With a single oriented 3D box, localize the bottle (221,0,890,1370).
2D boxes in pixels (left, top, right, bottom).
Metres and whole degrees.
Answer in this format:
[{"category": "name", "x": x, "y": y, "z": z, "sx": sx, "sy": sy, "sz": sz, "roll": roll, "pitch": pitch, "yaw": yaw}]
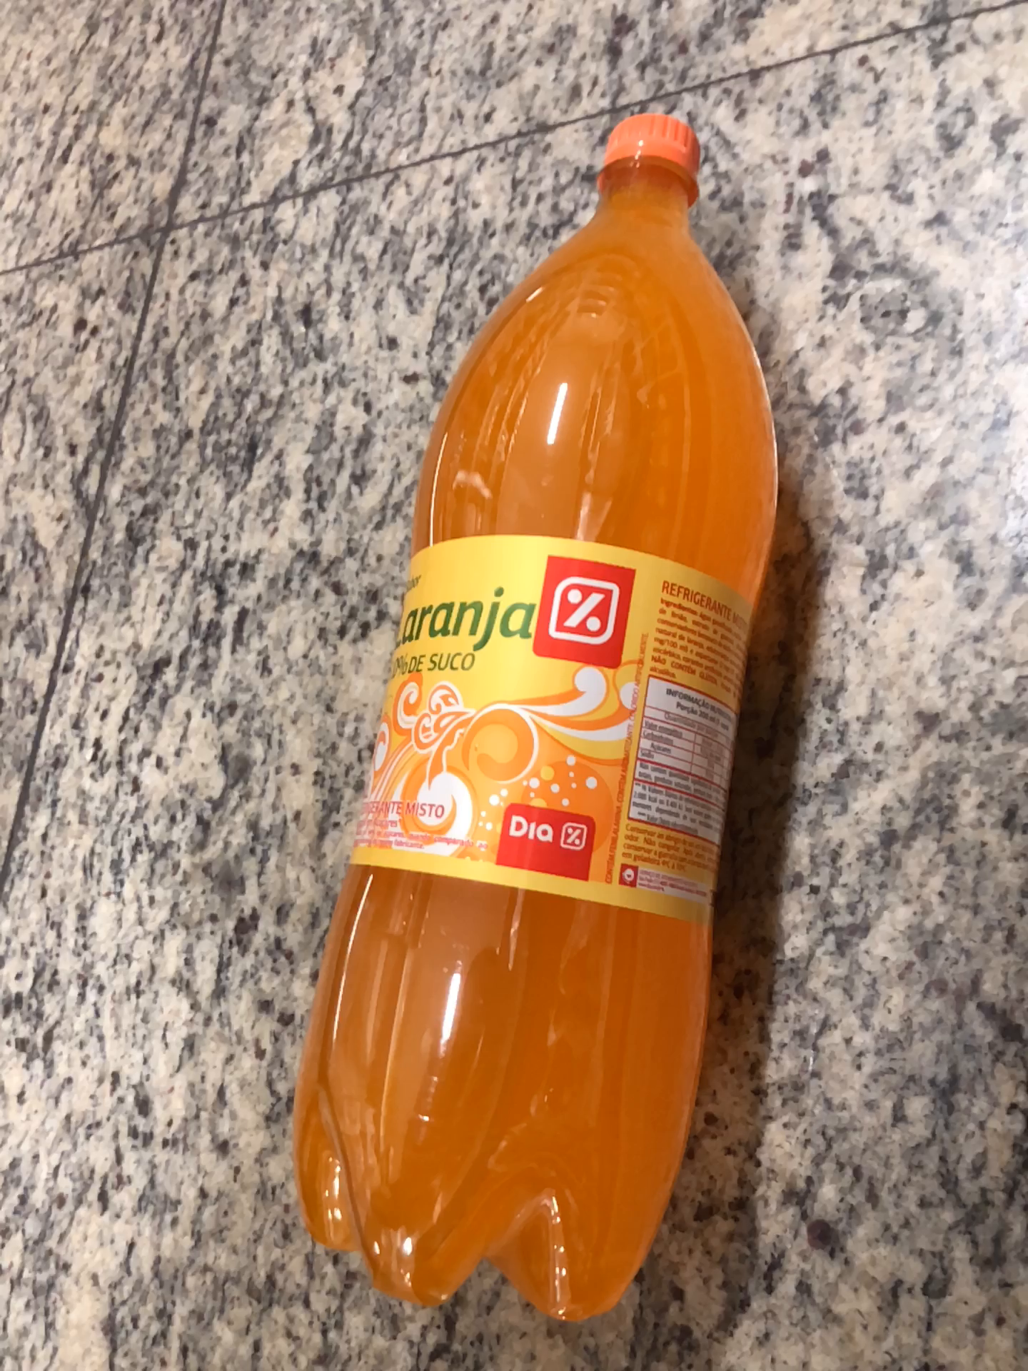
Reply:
[{"category": "bottle", "x": 0.024, "y": -0.015, "z": 0.325, "sx": 0.120, "sy": 0.070, "sz": 0.350, "roll": 1, "pitch": 74, "yaw": 31}]
